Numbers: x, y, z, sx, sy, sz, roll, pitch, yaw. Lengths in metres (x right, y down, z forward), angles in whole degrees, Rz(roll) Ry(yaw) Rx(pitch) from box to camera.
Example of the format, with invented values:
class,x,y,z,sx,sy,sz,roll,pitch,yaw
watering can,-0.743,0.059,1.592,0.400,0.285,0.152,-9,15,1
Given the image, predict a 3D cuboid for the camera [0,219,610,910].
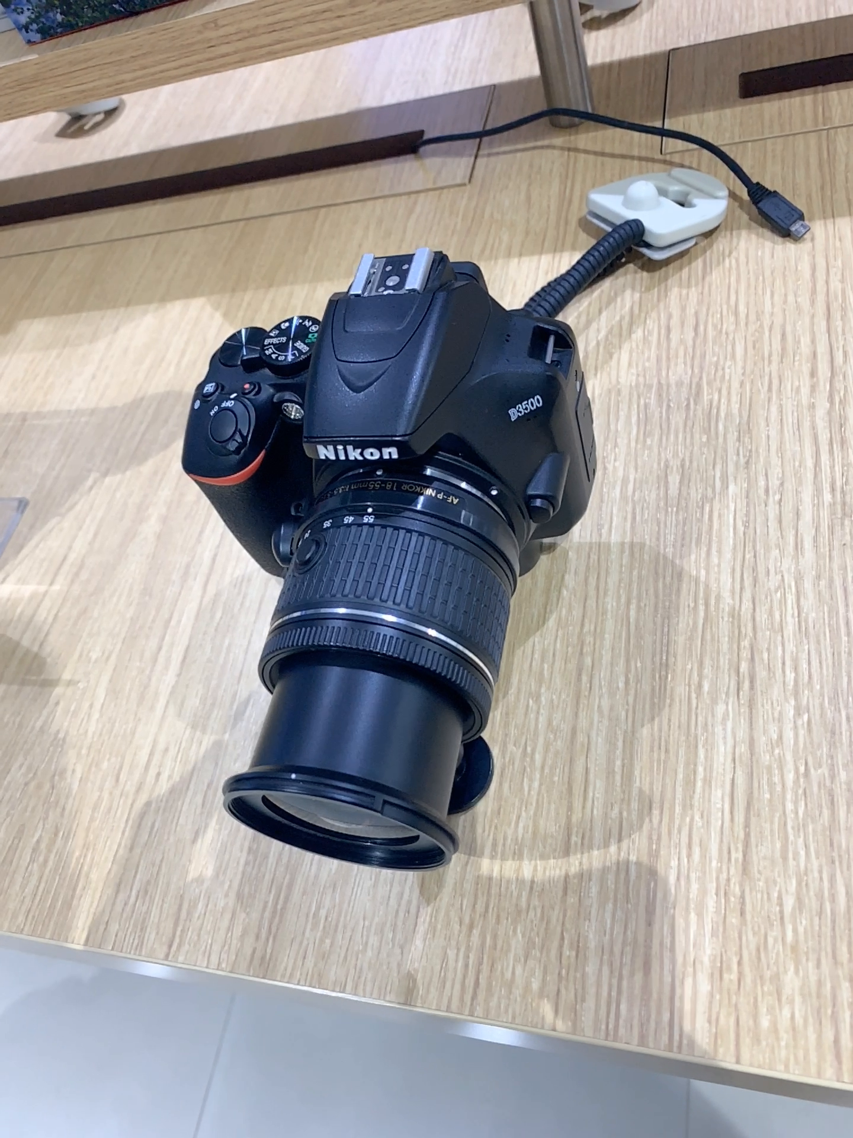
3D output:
class,x,y,z,sx,sy,sz,roll,pitch,yaw
camera,-0.023,0.001,0.226,0.117,0.095,0.131,0,57,20
